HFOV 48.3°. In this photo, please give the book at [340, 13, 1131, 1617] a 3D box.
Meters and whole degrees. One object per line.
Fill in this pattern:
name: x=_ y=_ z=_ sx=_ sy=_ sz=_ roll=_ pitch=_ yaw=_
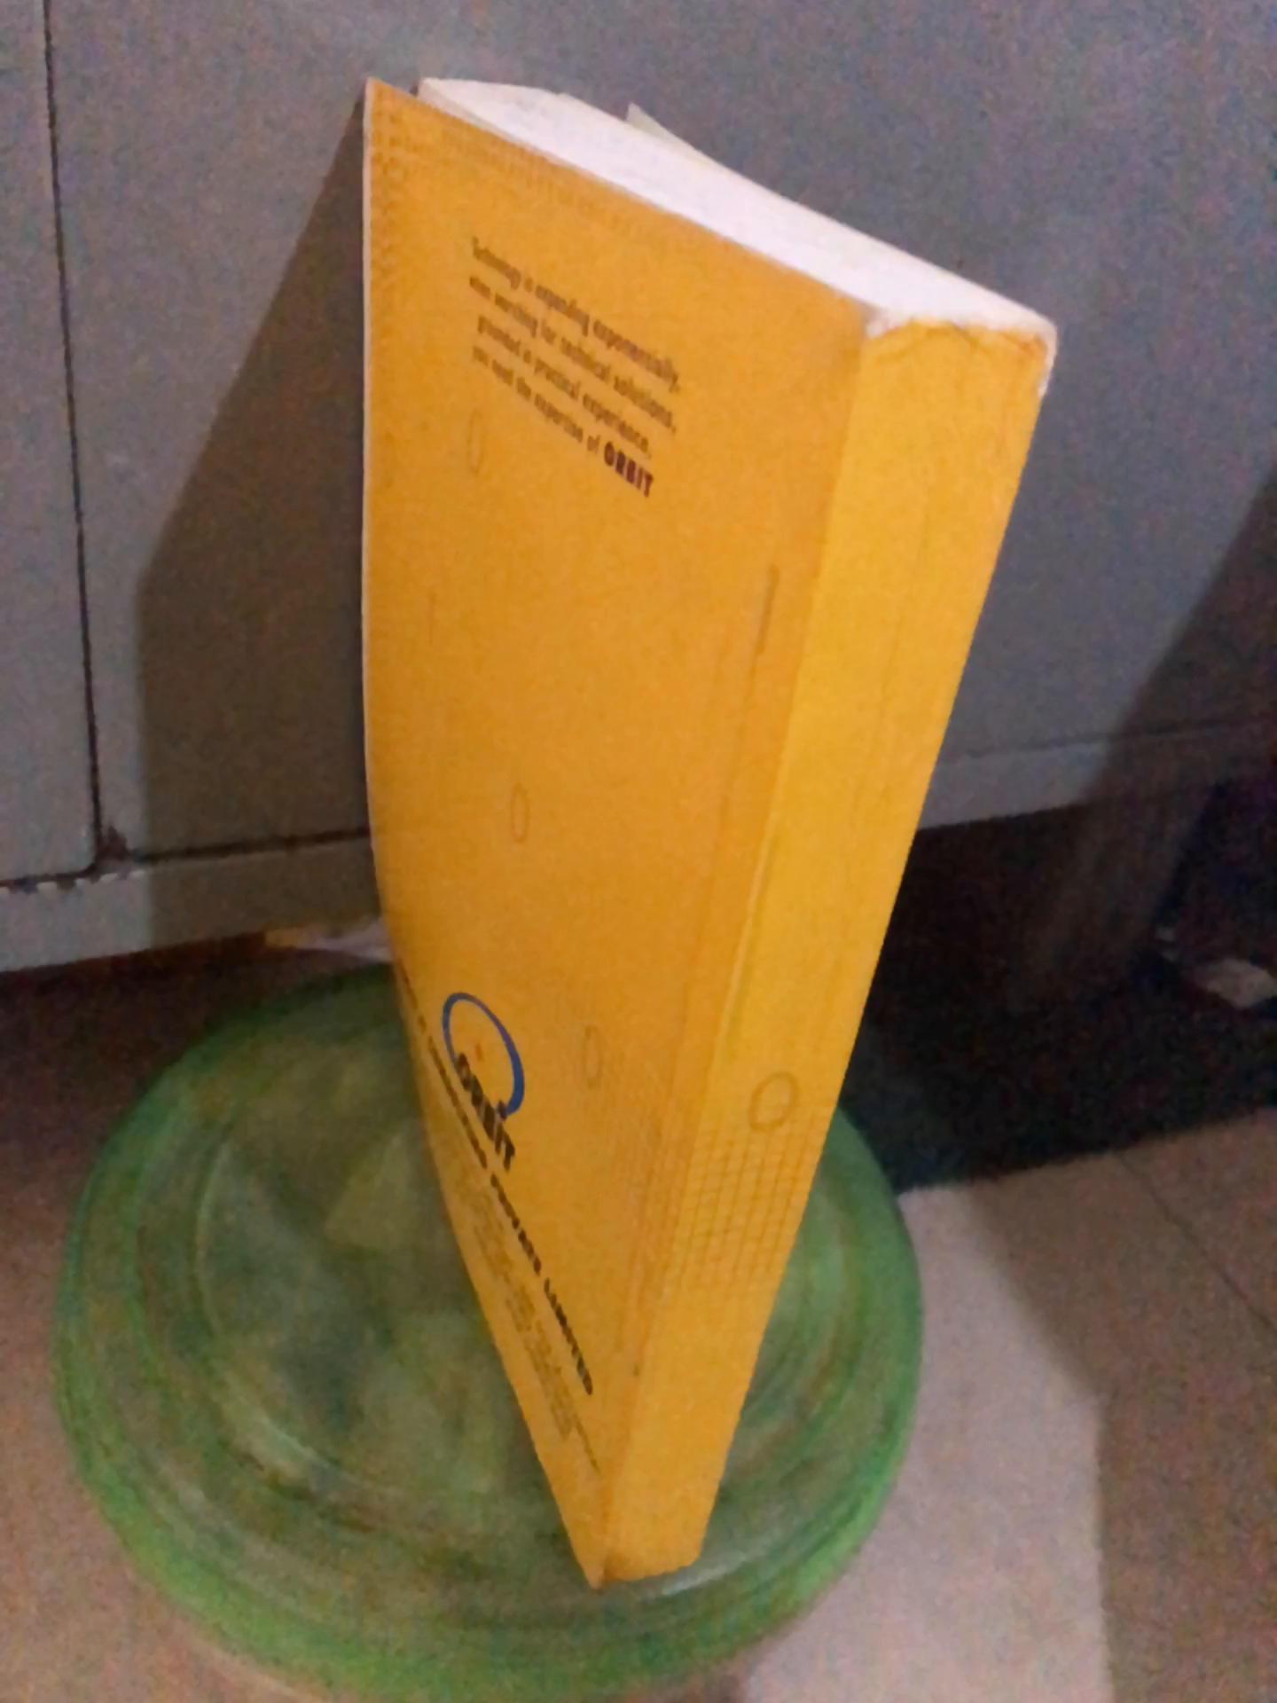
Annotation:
book: x=-0.020 y=-0.014 z=0.322 sx=0.040 sy=0.279 sz=0.221 roll=-5 pitch=36 yaw=-22
